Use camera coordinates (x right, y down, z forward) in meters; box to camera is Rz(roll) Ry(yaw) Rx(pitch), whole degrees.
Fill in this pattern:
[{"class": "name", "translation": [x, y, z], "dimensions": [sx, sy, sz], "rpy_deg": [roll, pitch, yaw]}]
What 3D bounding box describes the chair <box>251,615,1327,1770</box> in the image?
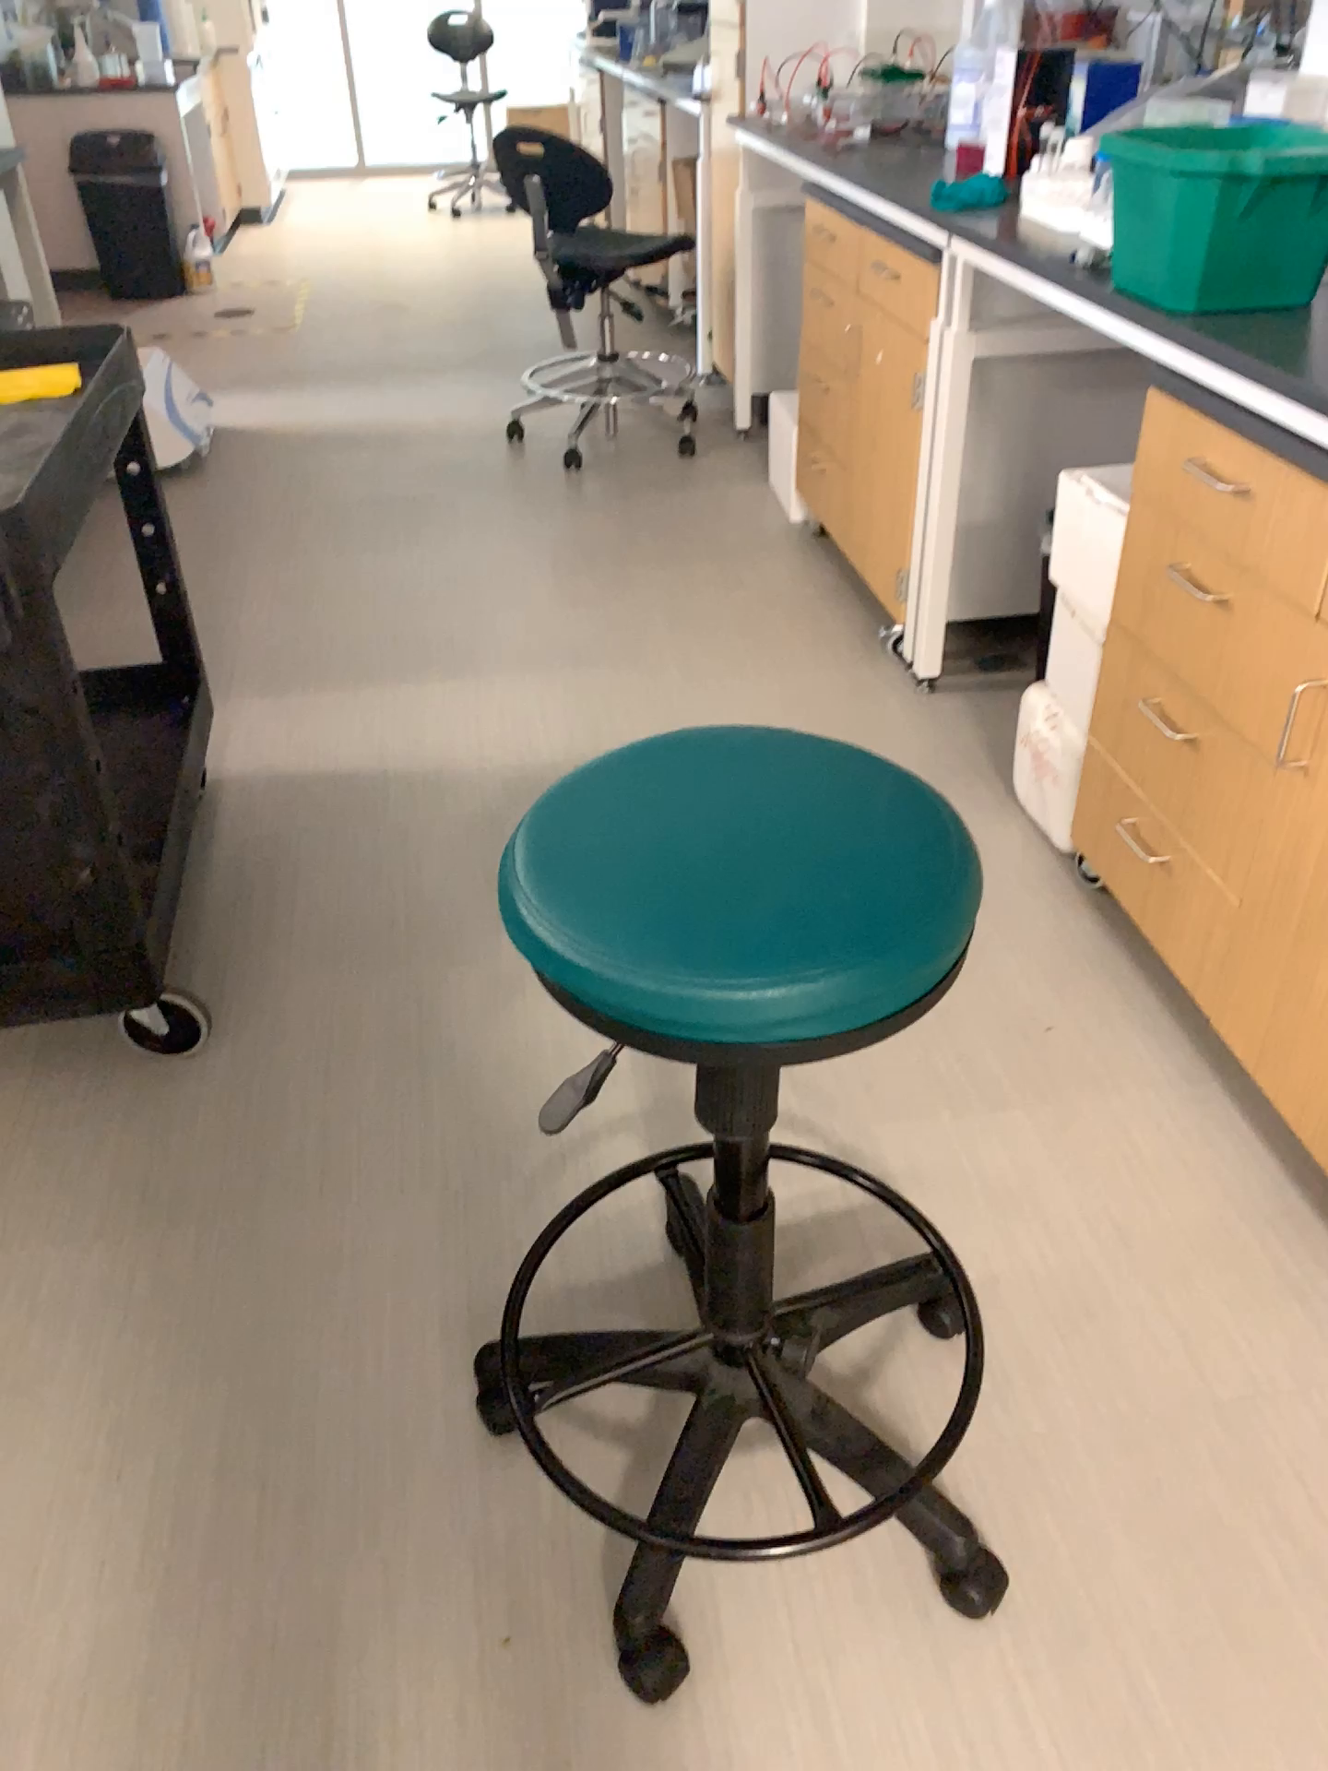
[{"class": "chair", "translation": [0.093, 0.232, 1.204], "dimensions": [0.592, 0.654, 0.593], "rpy_deg": [-24, 40, -30]}]
